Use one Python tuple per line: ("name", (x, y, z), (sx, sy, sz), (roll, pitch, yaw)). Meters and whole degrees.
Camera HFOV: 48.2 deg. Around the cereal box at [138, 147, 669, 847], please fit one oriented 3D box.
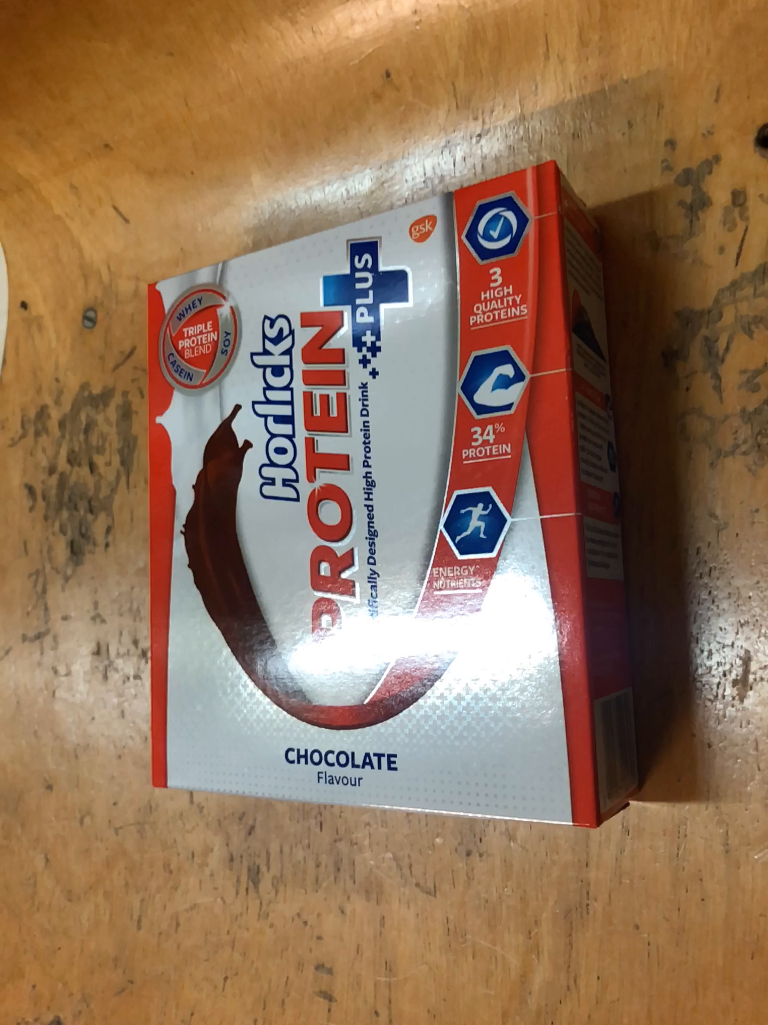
("cereal box", (0.000, 0.000, 0.250), (0.140, 0.050, 0.160), (-5, 84, 27))
